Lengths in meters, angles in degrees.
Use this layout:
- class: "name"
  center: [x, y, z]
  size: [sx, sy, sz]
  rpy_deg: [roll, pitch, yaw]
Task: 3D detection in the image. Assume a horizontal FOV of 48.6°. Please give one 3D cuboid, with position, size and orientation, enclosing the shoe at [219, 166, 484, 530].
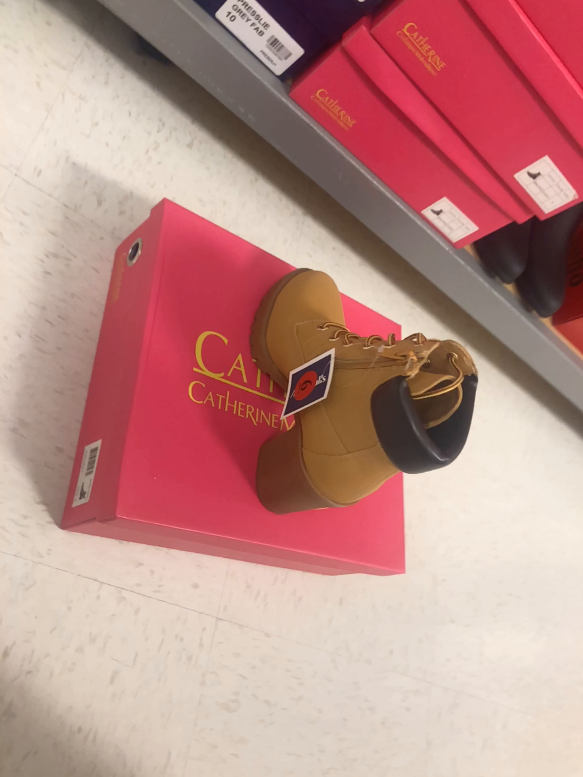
- class: "shoe"
  center: [0.045, -0.021, 0.489]
  size: [0.085, 0.169, 0.217]
  rpy_deg: [26, 57, -34]
